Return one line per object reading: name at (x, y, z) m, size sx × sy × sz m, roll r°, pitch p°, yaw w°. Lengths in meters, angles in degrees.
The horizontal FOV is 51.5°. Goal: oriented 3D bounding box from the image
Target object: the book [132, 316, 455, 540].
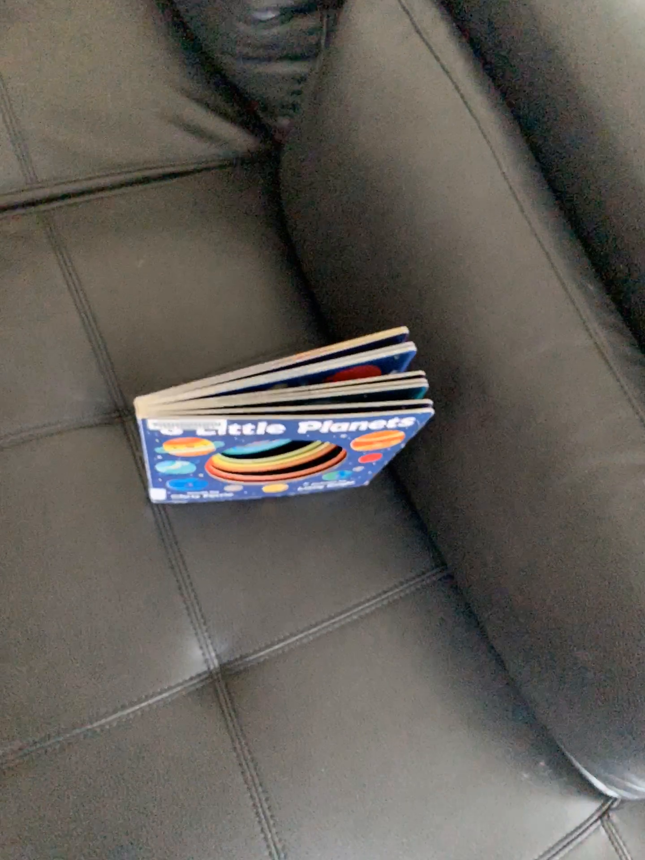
book at (-0.036, 0.008, 0.544) m, size 0.207 × 0.212 × 0.079 m, roll -8°, pitch 69°, yaw -15°
